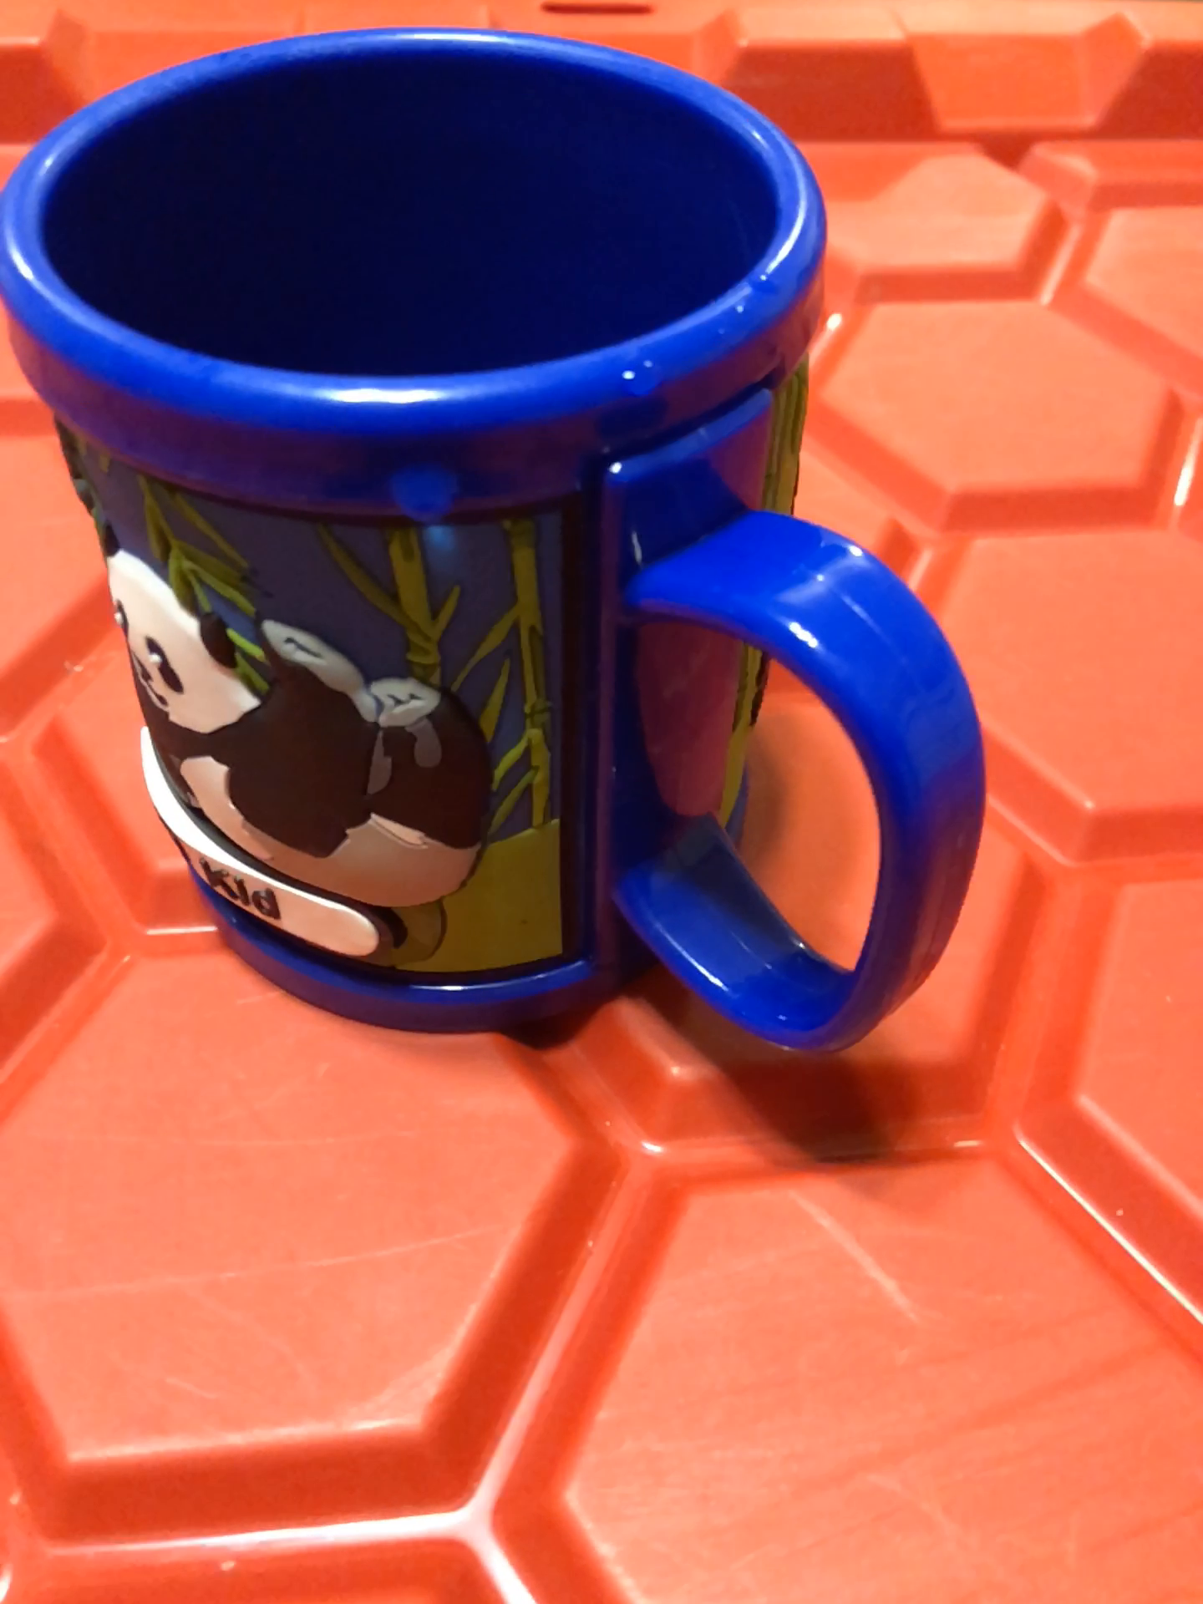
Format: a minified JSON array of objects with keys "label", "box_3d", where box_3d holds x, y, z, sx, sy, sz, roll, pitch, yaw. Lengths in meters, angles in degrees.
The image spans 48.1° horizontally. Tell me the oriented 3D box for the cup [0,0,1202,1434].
[{"label":"cup","box_3d":[-0.009,-0.020,0.159,0.090,0.099,0.120,-34,58,-26]}]
